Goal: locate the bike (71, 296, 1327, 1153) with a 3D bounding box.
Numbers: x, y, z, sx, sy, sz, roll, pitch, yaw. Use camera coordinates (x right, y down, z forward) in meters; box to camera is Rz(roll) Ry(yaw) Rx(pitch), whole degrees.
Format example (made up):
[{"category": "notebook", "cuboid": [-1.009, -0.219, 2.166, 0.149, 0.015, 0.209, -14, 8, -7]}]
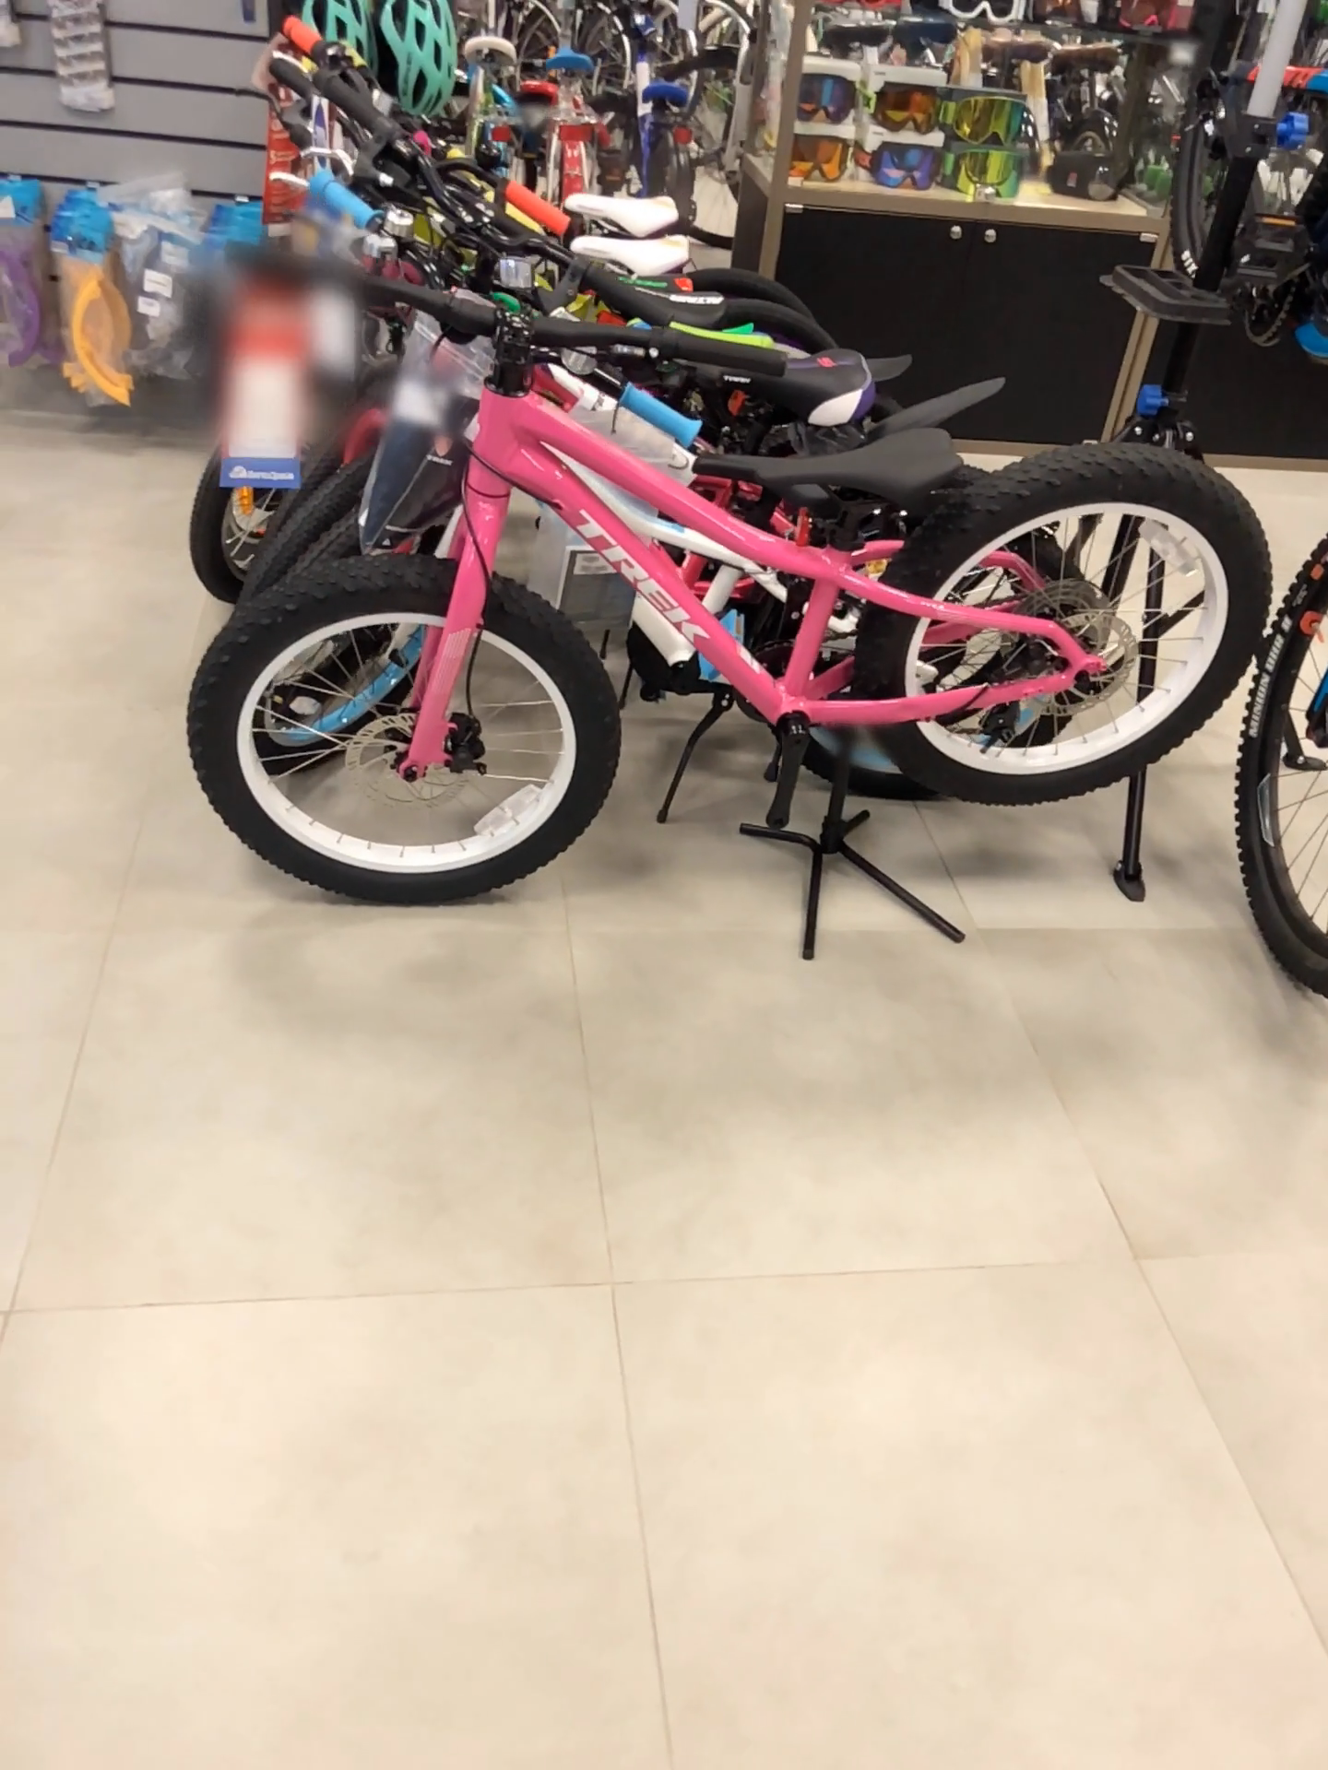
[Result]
[{"category": "bike", "cuboid": [0.098, -0.220, 1.736, 1.335, 0.668, 0.574, -5, 36, -5]}]
